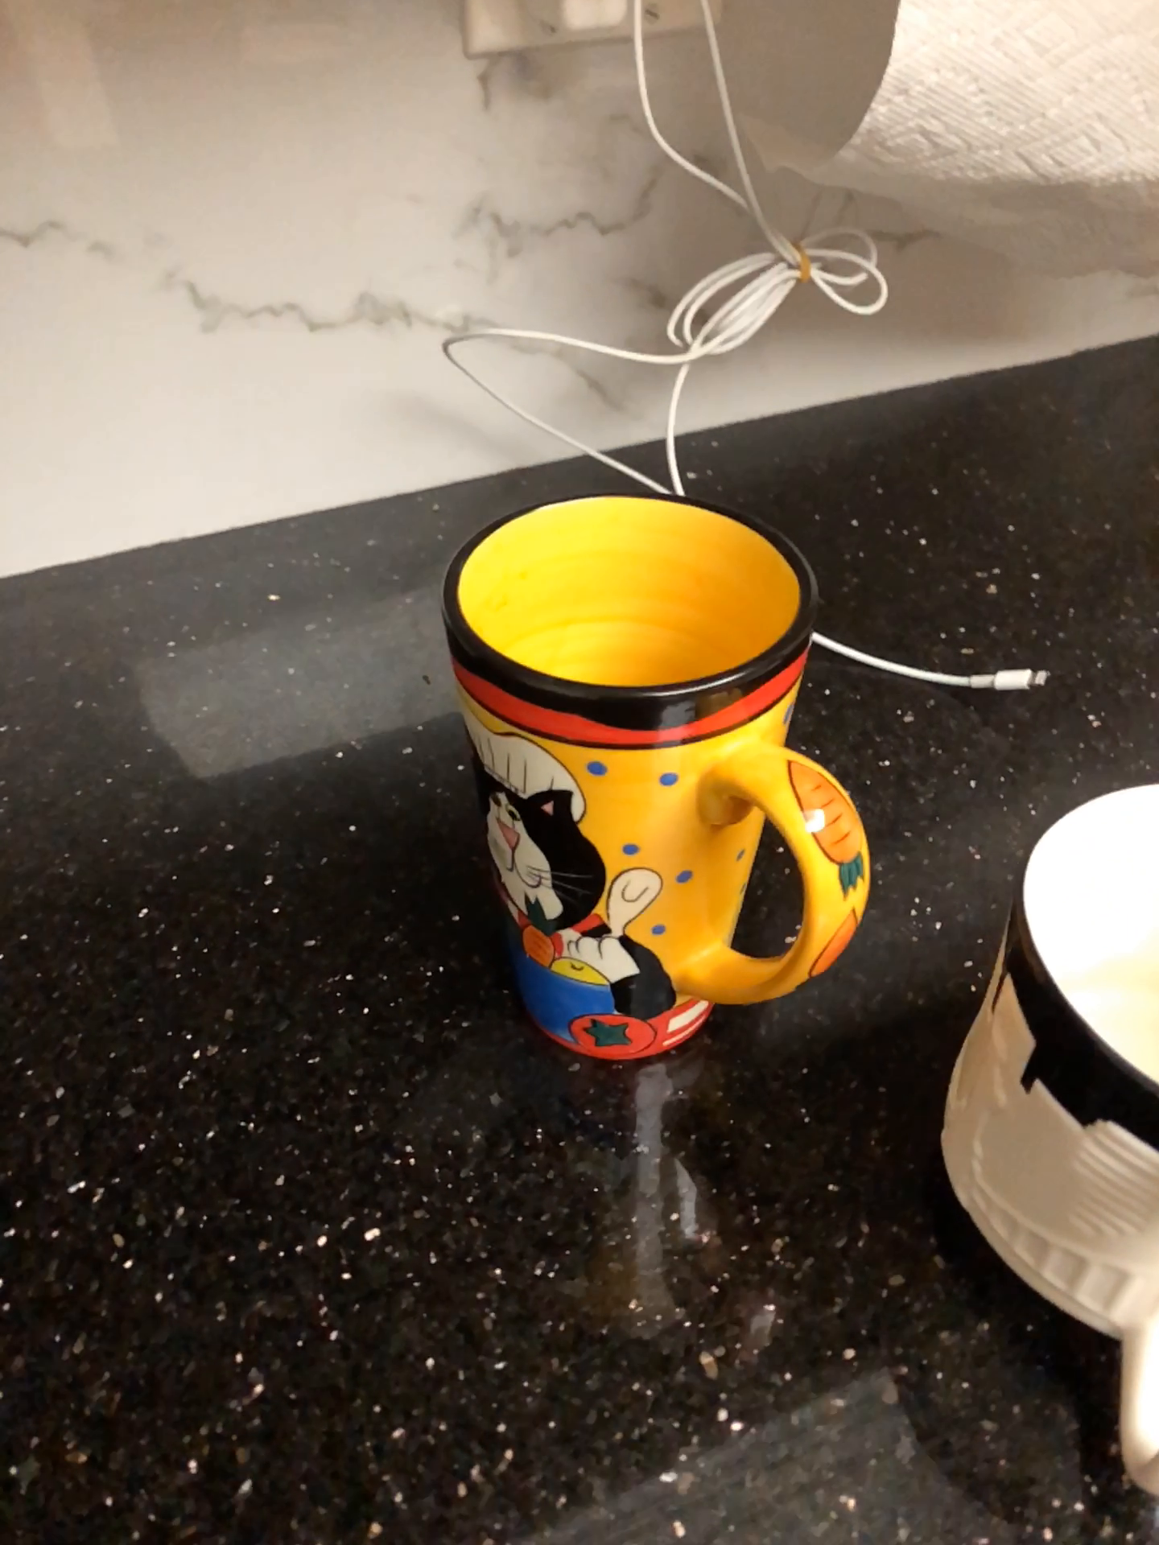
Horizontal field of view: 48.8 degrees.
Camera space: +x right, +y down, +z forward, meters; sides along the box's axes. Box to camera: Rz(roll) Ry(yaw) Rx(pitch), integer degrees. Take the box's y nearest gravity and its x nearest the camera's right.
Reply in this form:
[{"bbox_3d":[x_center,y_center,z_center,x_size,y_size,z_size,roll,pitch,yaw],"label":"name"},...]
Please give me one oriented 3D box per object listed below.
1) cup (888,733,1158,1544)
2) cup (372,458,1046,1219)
[{"bbox_3d":[0.149,0.084,0.299,0.110,0.099,0.141,15,43,17],"label":"cup"},{"bbox_3d":[0.027,0.012,0.340,0.090,0.129,0.130,-31,49,-31],"label":"cup"}]
